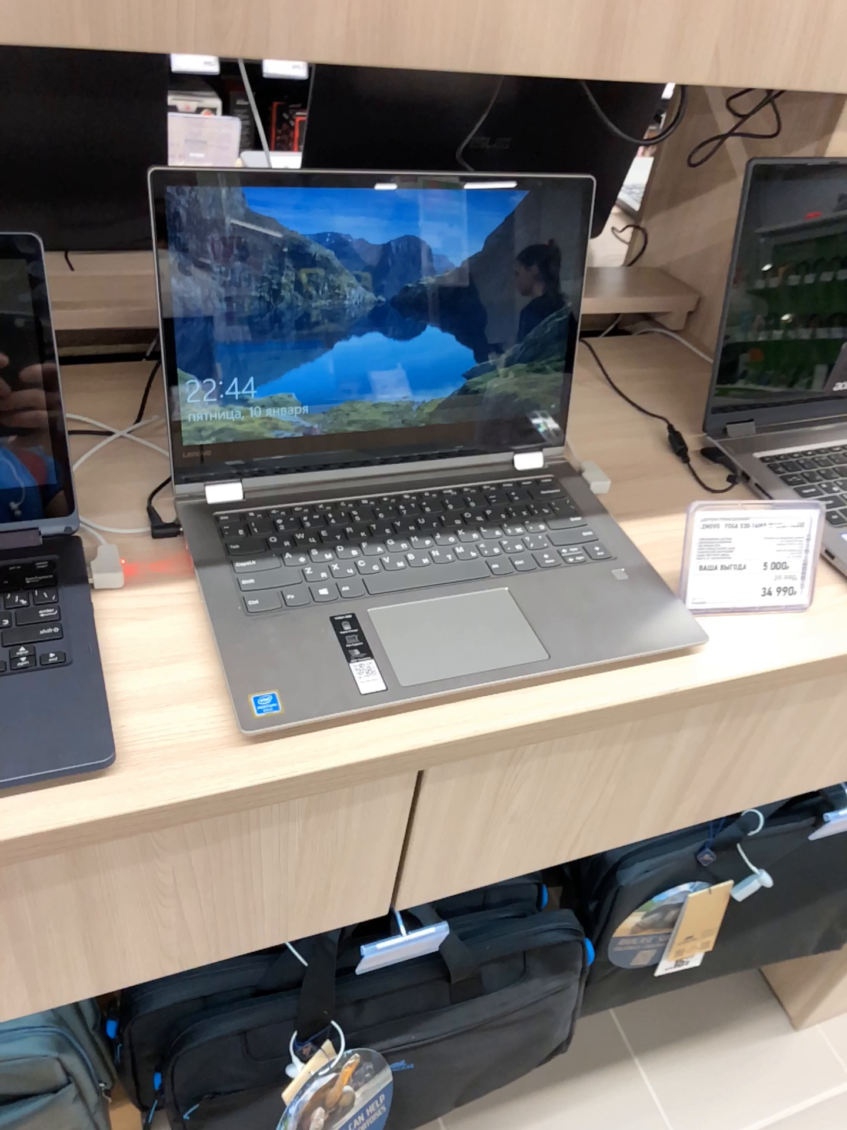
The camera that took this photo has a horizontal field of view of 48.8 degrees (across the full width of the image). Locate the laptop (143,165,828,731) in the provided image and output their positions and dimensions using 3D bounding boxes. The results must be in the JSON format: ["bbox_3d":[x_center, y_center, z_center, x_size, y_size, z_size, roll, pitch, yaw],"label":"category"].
[{"bbox_3d":[0.008,-0.097,0.610,0.312,0.205,0.288,-8,42,-24],"label":"laptop"}]
